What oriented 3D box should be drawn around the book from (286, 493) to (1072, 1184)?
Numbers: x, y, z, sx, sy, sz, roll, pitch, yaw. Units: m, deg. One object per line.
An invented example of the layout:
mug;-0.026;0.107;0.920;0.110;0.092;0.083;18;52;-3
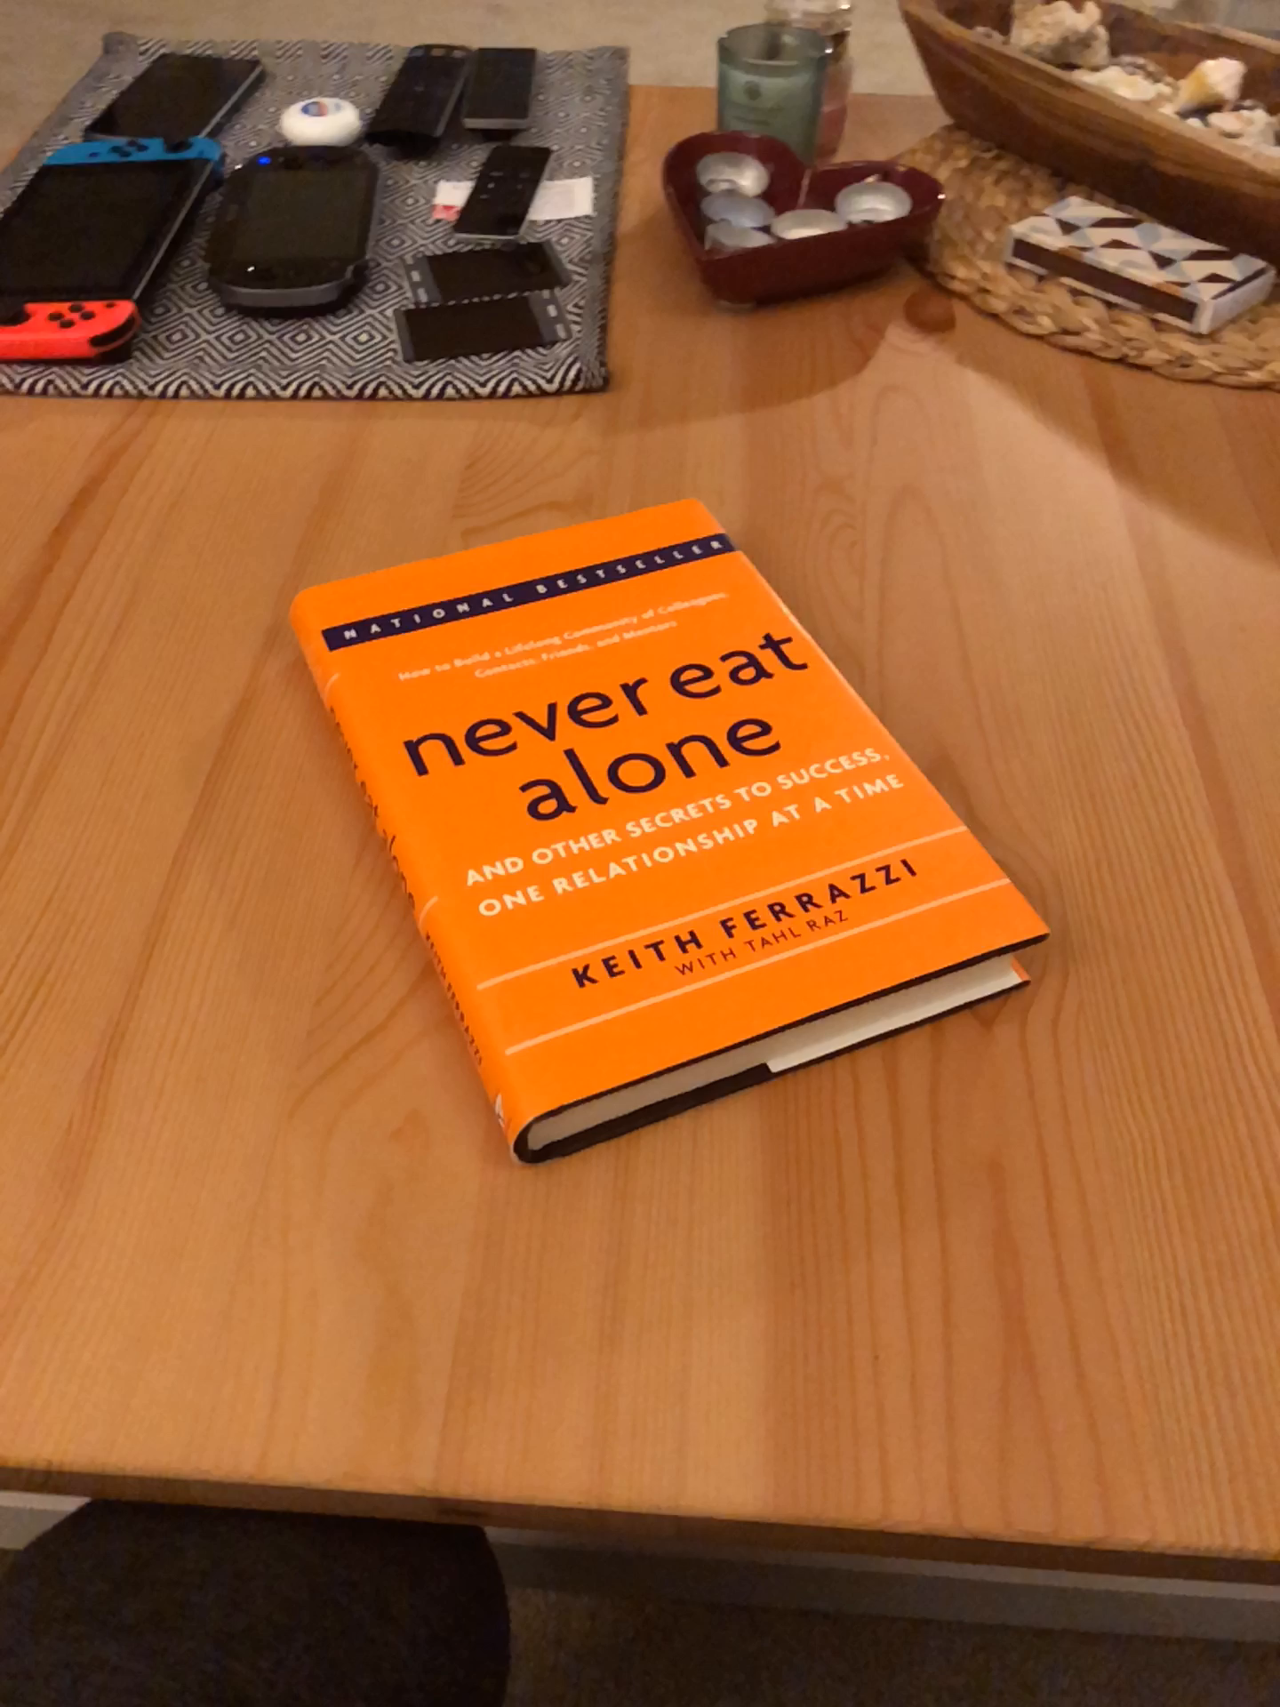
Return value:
book;-0.002;-0.027;0.459;0.166;0.025;0.241;-17;49;-16
